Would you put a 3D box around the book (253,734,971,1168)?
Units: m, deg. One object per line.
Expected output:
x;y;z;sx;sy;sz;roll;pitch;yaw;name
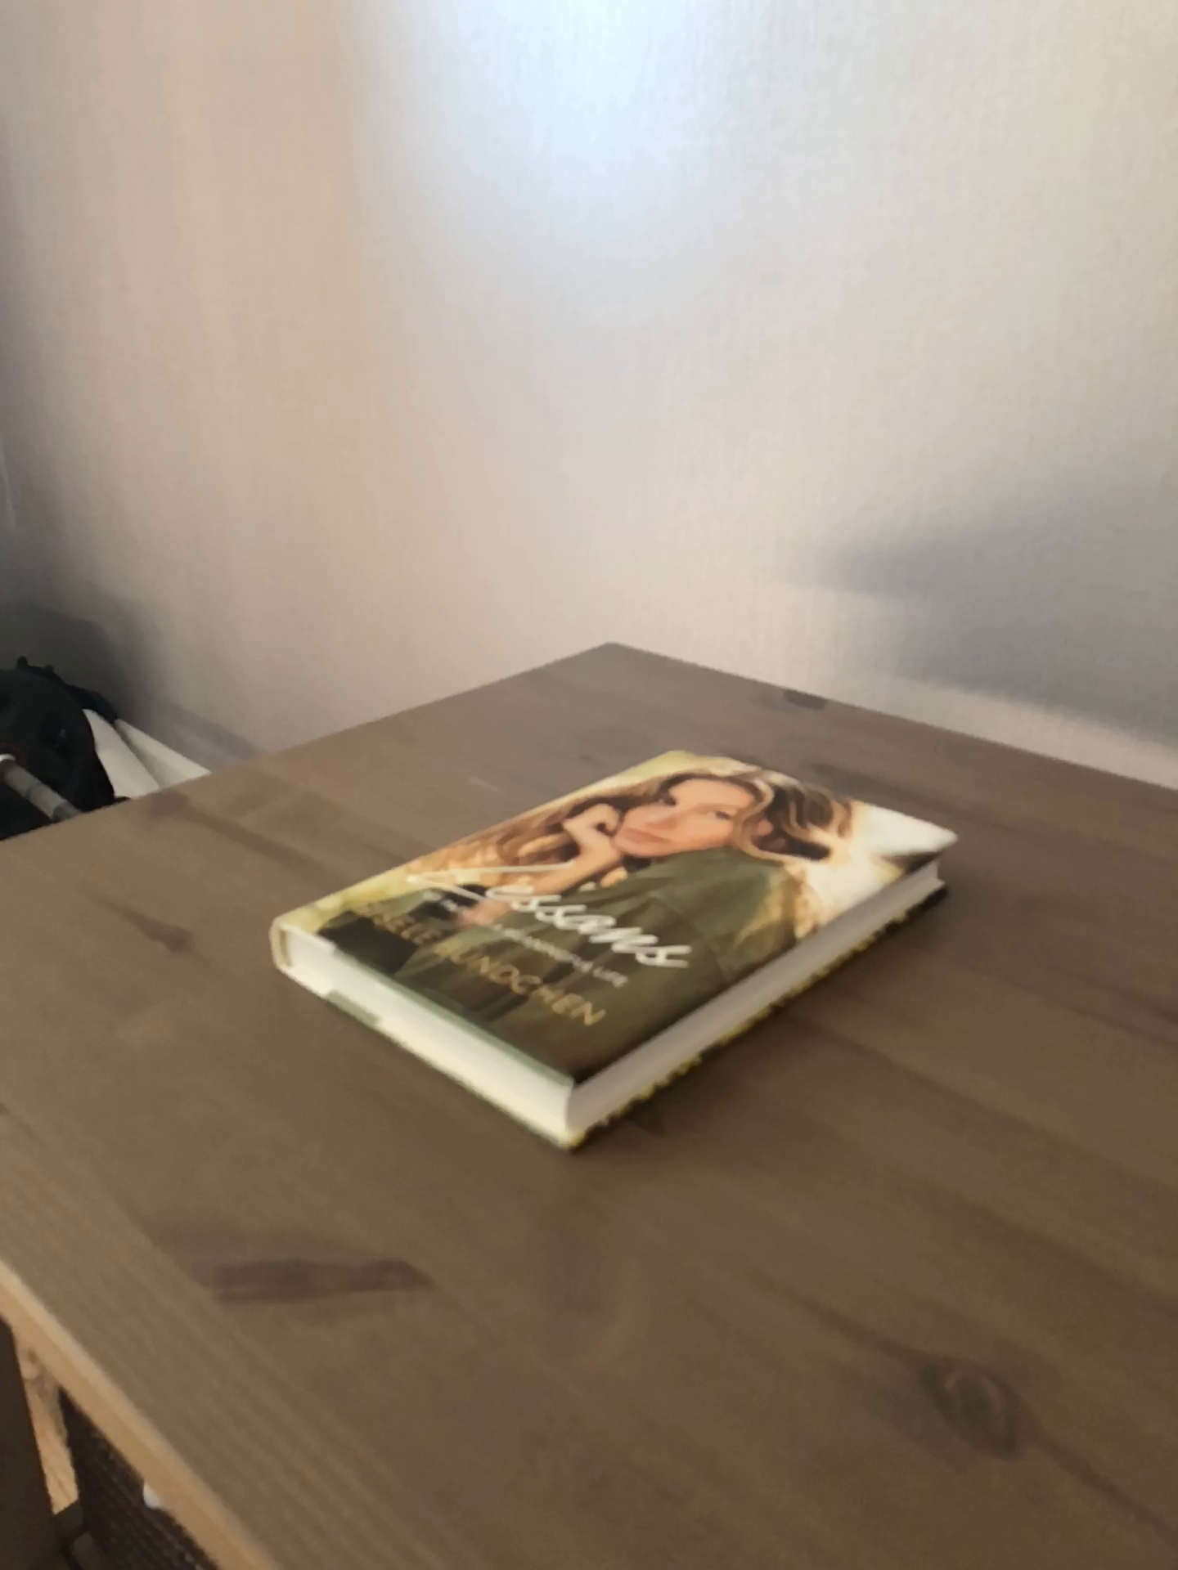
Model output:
0.016;0.043;0.496;0.160;0.030;0.228;20;30;39;book
